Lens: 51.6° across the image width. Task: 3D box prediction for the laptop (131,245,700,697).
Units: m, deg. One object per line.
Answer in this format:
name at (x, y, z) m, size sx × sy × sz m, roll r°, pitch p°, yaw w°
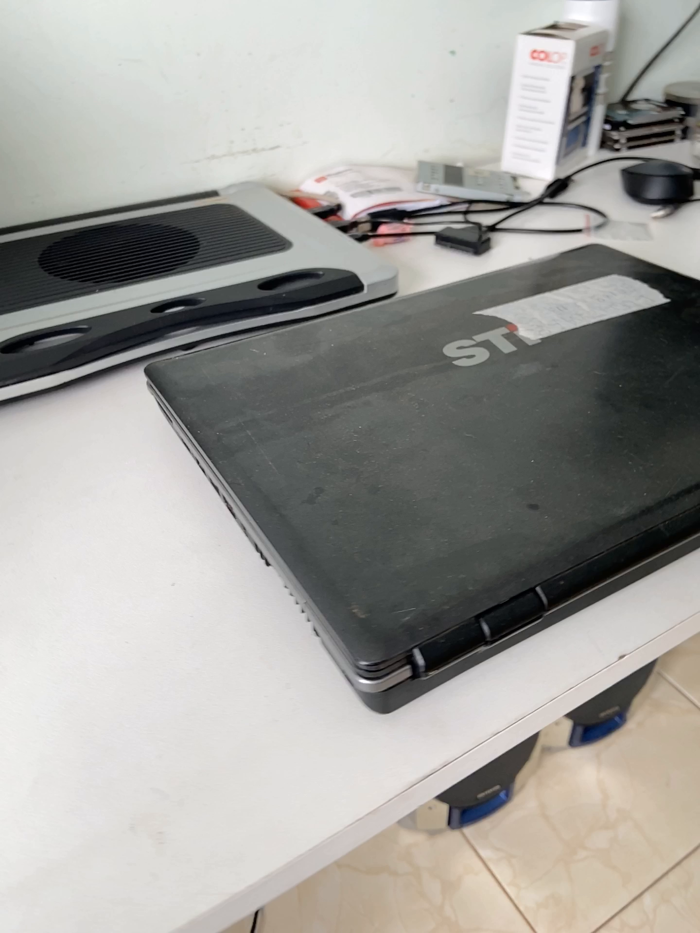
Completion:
laptop at (0.087, -0.043, 0.374) m, size 0.338 × 0.006 × 0.235 m, roll -21°, pitch 40°, yaw -22°
